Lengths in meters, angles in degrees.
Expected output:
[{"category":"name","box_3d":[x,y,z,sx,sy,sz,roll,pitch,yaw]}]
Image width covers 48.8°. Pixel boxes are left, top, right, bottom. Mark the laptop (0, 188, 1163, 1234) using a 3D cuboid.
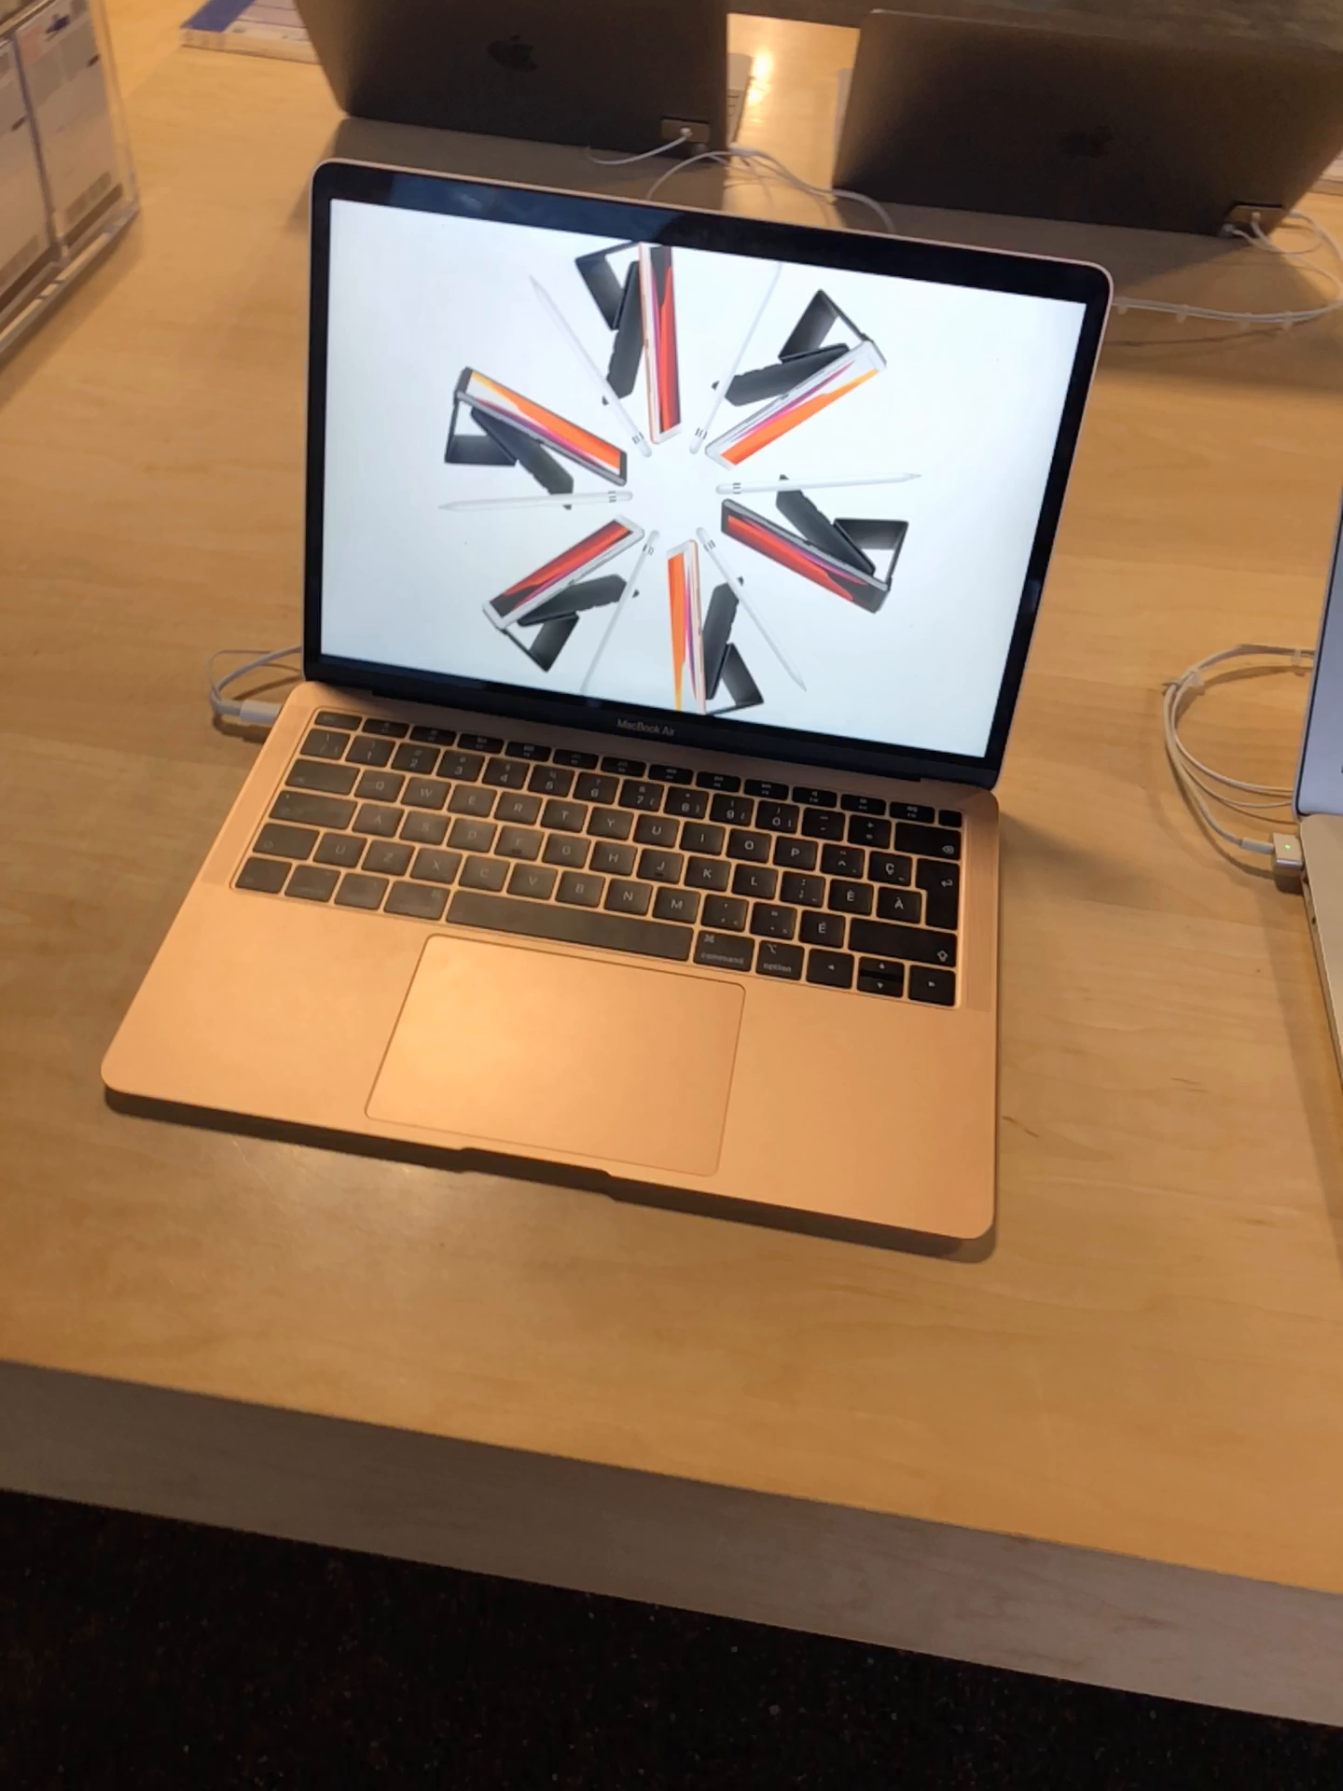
[{"category":"laptop","box_3d":[-0.012,-0.079,0.514,0.291,0.183,0.284,10,47,4]}]
